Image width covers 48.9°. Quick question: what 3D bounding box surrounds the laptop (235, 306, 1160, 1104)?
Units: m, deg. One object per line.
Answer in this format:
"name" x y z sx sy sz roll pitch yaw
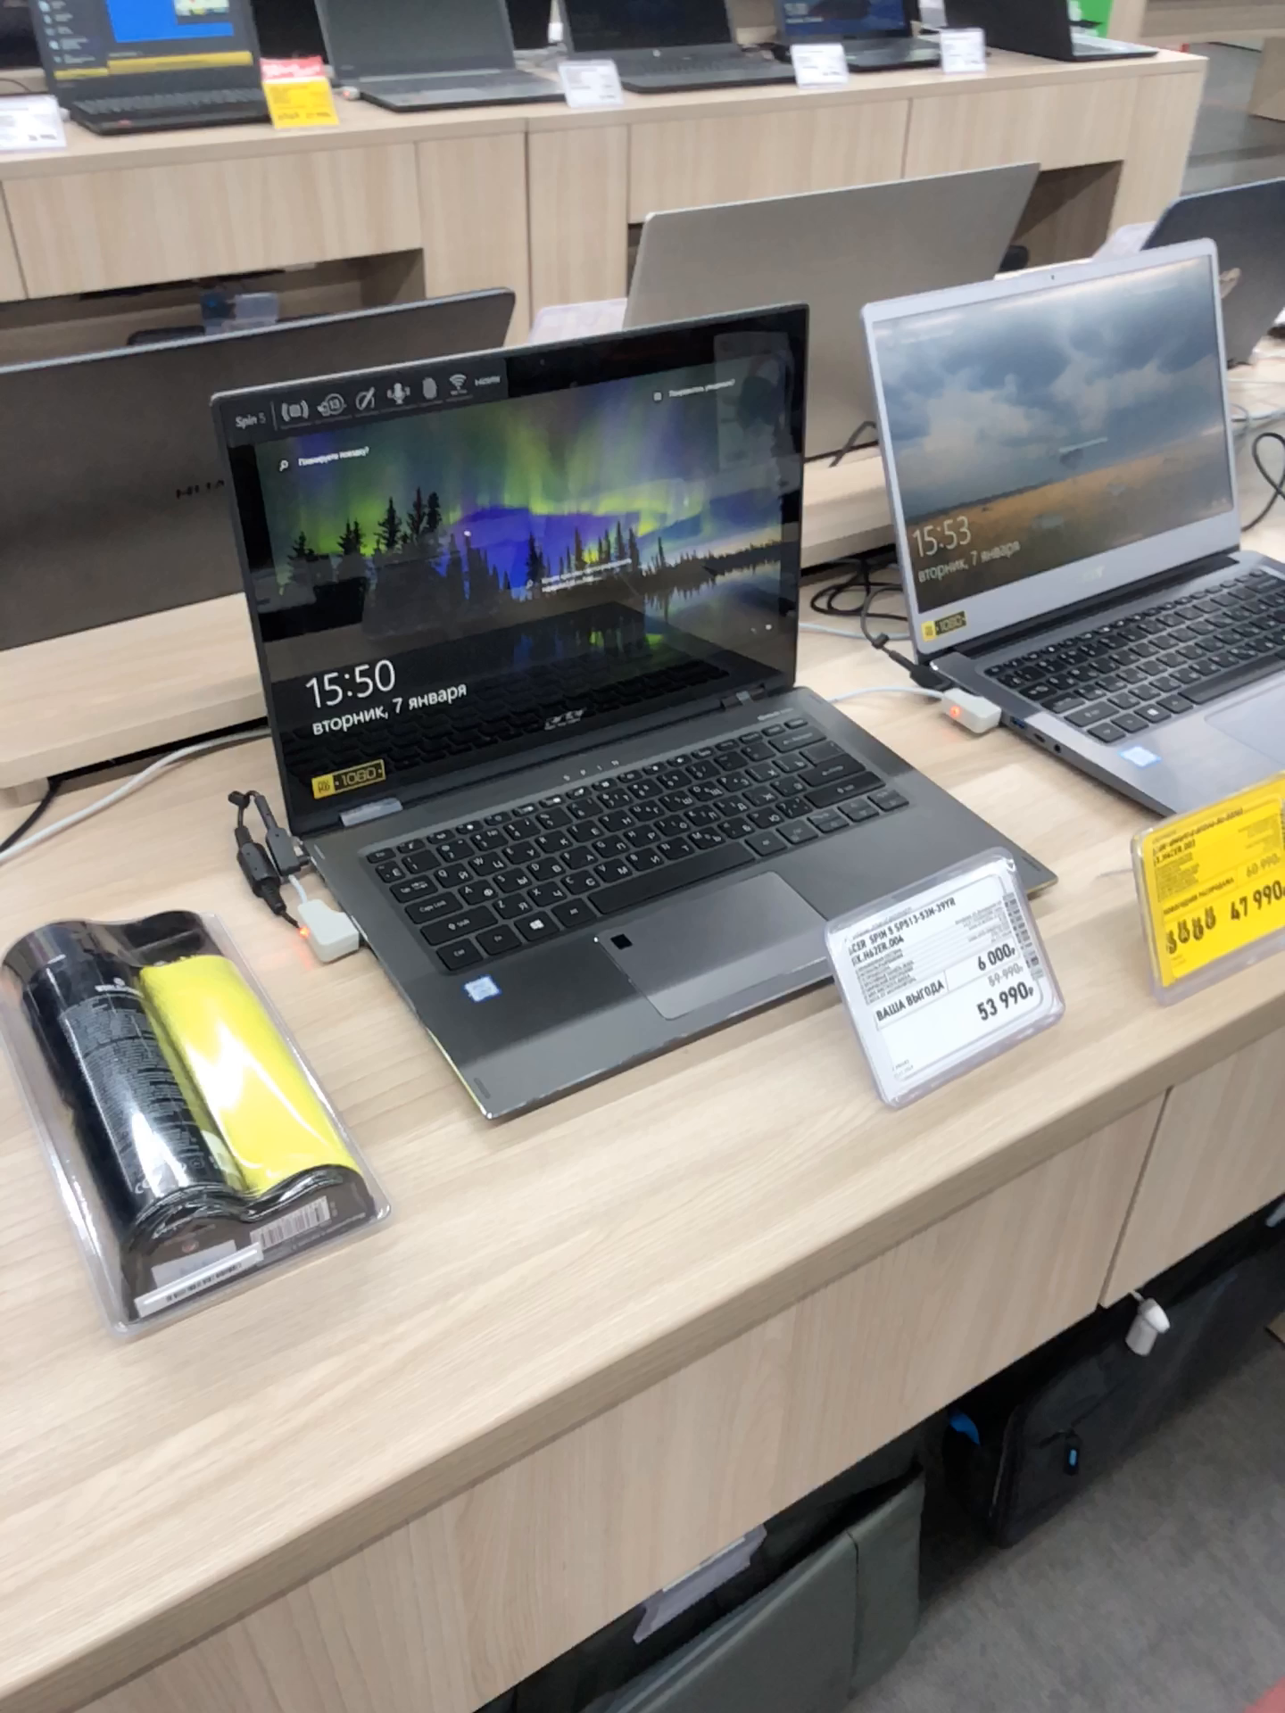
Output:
"laptop" 0.017 -0.097 0.668 0.315 0.215 0.246 -19 41 -26

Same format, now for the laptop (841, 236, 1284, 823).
"laptop" 0.338 -0.215 0.844 0.271 0.196 0.299 -22 42 -26
